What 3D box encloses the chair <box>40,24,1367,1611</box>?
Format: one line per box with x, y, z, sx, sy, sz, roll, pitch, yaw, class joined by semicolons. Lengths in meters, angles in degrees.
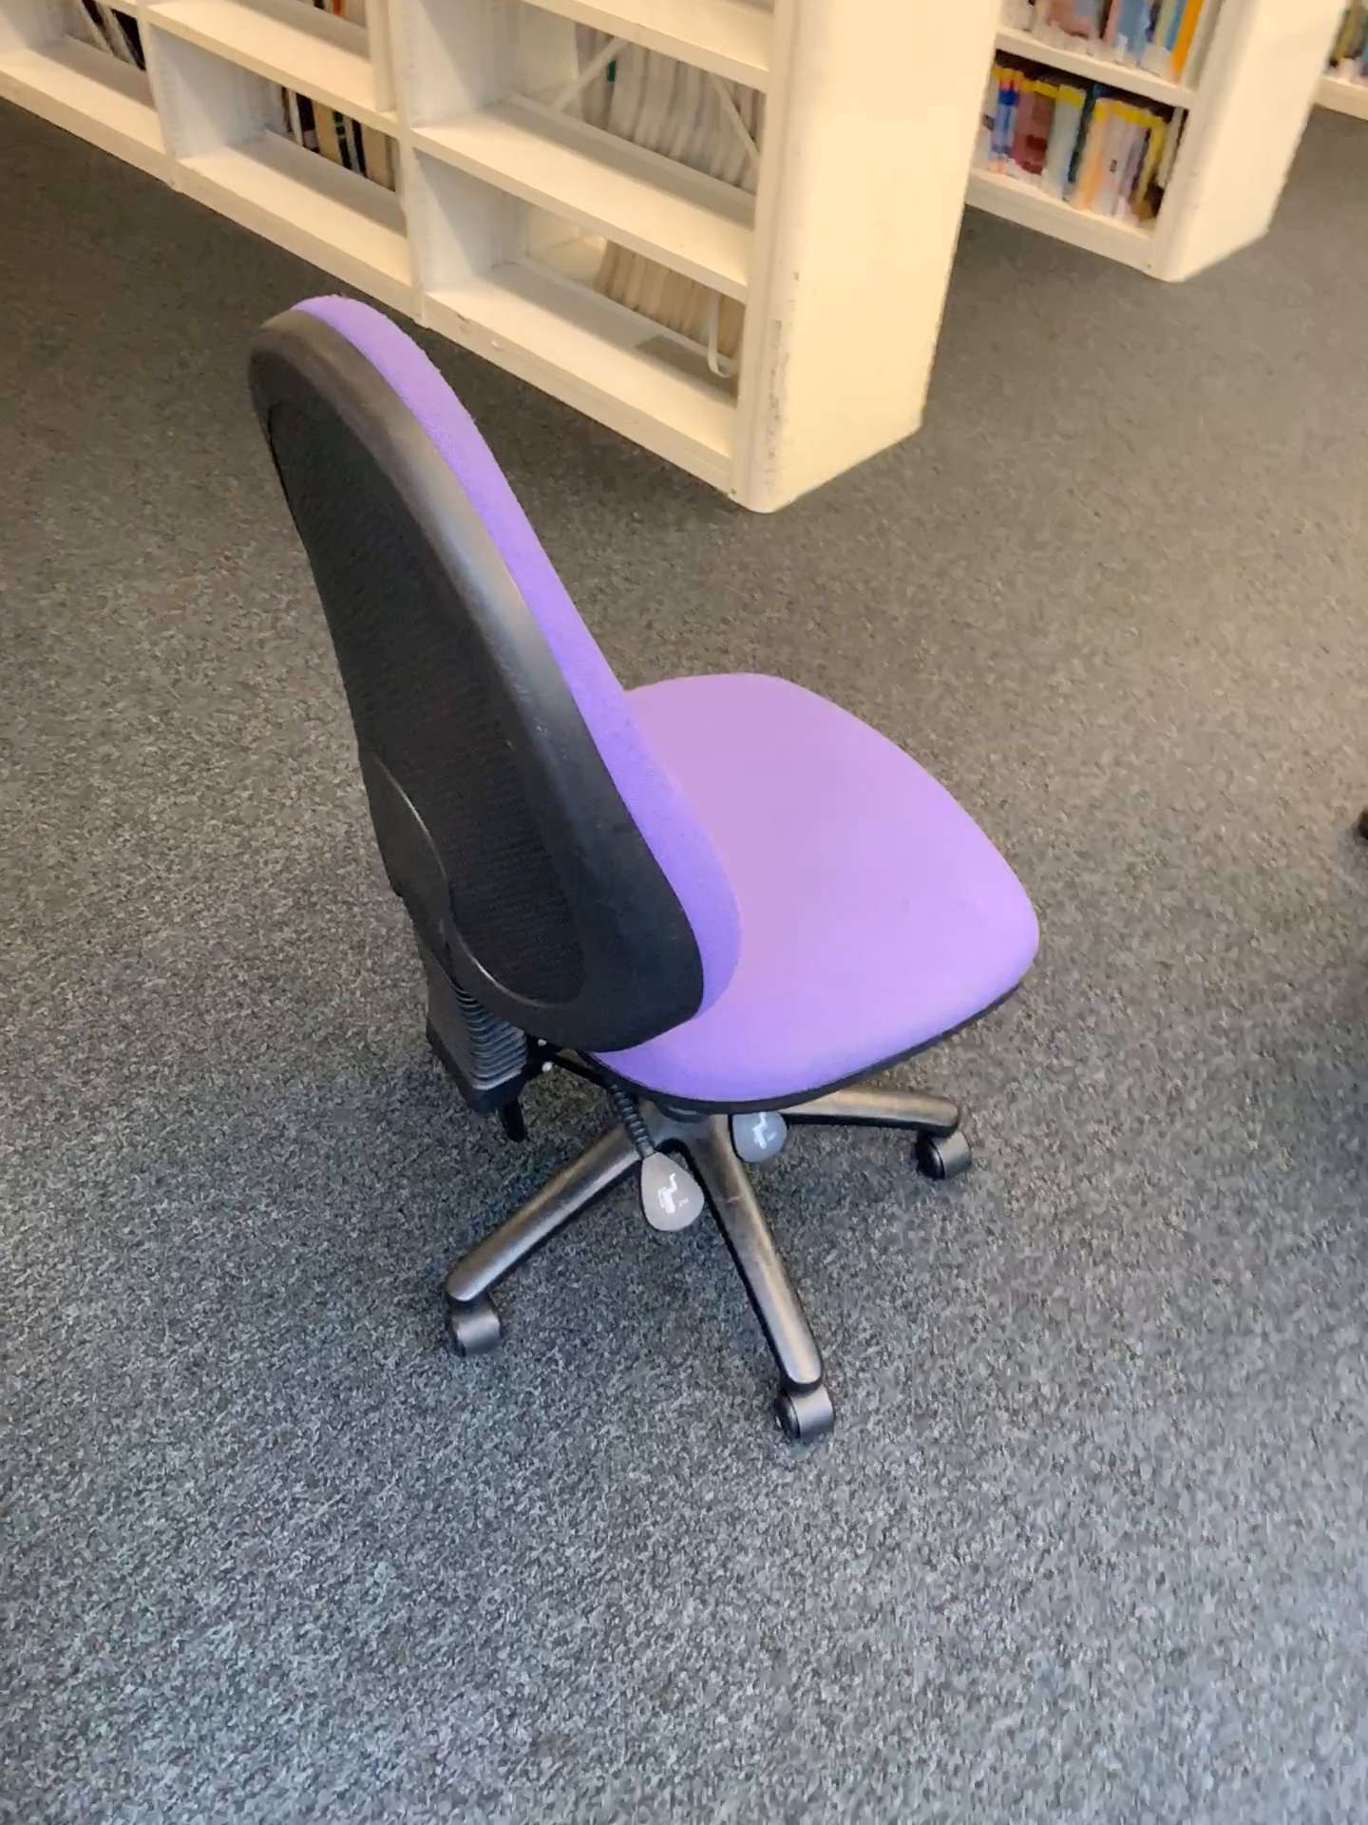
0.022;-0.053;1.174;0.636;0.984;0.672;-25;54;-25;chair
